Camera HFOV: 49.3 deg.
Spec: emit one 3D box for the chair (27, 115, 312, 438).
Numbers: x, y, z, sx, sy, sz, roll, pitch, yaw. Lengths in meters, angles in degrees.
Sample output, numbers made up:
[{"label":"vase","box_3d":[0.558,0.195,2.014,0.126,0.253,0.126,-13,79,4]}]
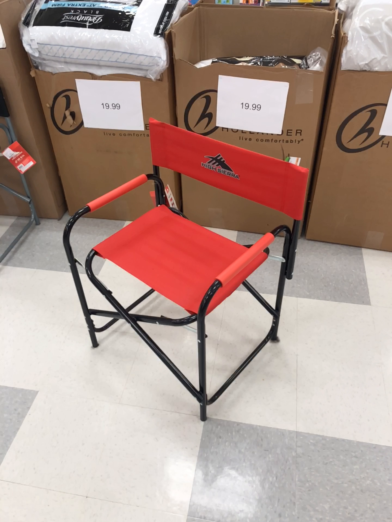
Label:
[{"label":"chair","box_3d":[-0.060,0.033,1.387,0.593,0.729,0.490,27,49,30]}]
